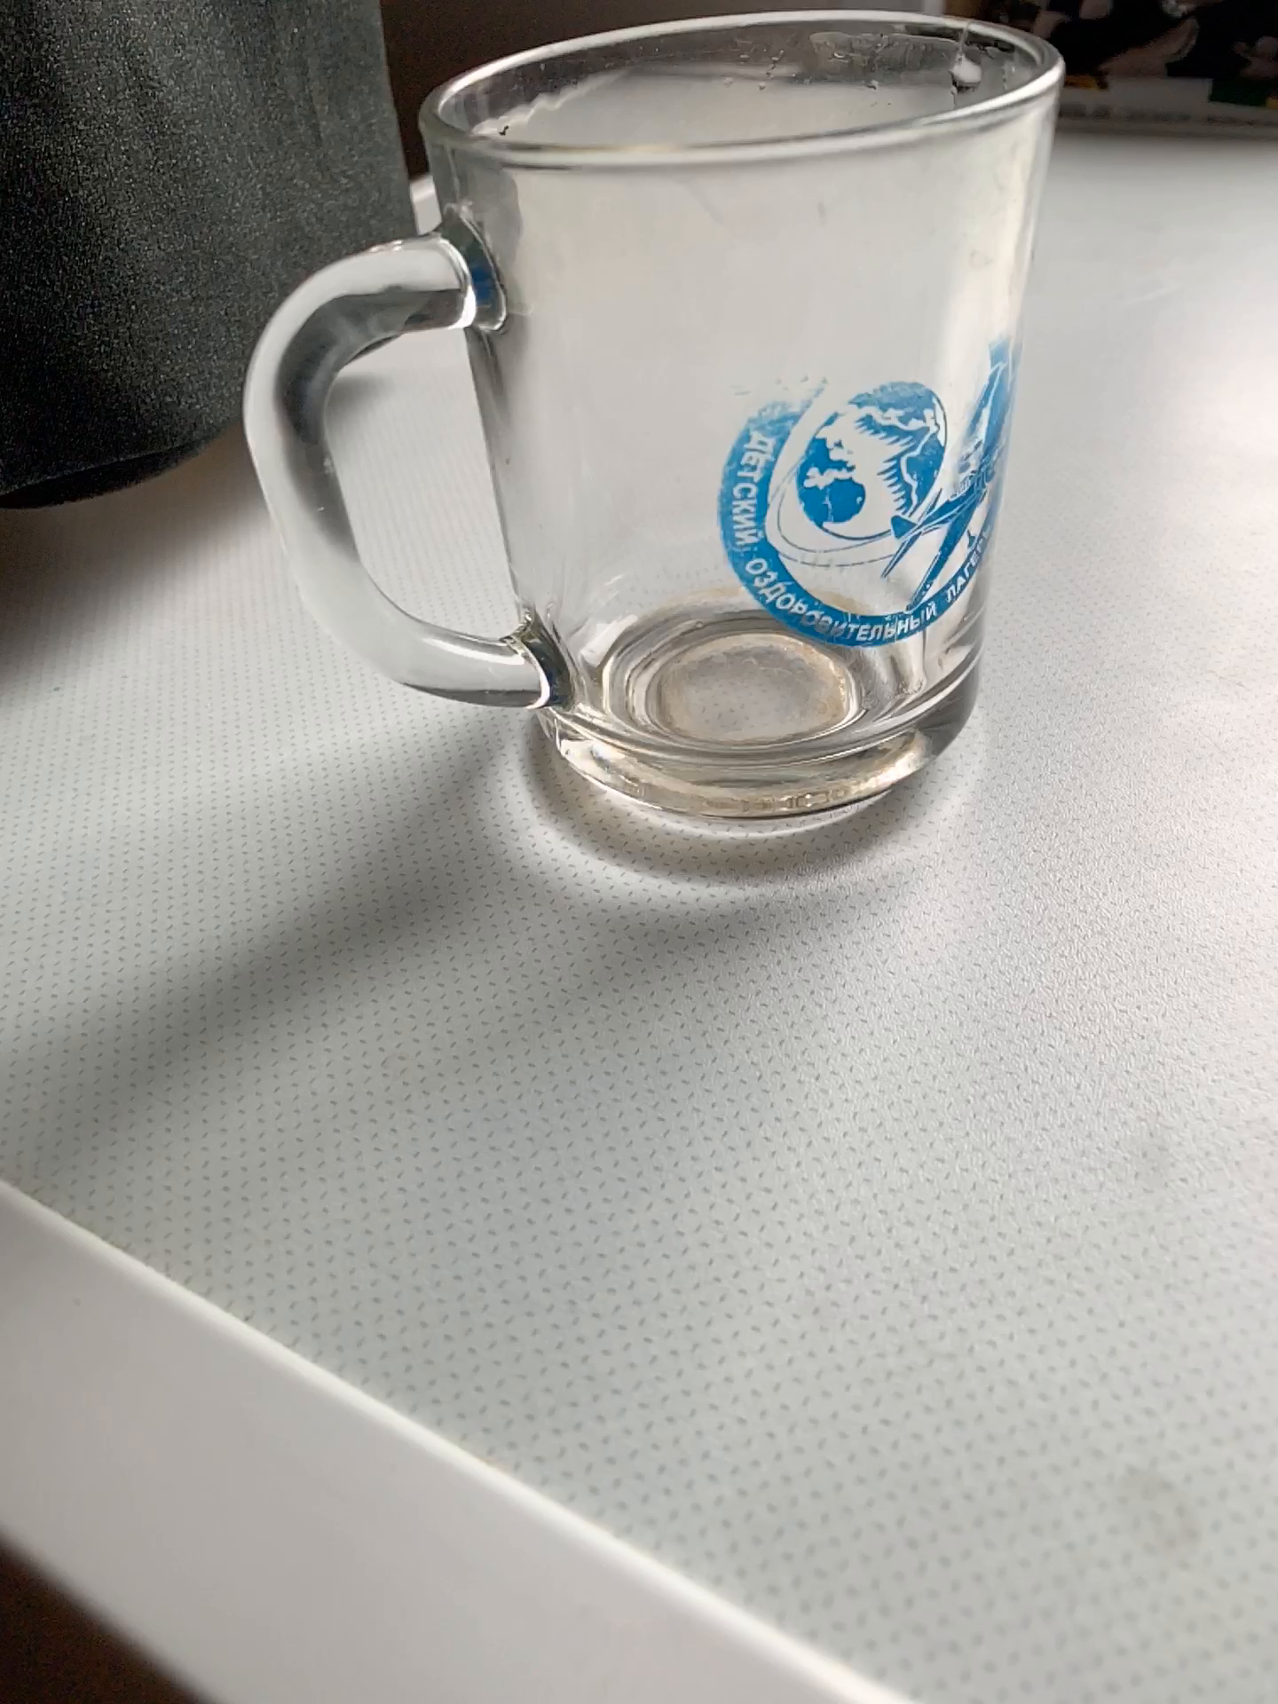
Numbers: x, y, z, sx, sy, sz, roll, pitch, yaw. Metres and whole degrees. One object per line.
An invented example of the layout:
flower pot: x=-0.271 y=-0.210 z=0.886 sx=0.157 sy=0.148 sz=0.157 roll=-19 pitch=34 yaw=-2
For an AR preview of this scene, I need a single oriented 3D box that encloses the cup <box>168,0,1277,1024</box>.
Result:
cup: x=0.006 y=-0.048 z=0.161 sx=0.090 sy=0.089 sz=0.071 roll=-18 pitch=41 yaw=-14
